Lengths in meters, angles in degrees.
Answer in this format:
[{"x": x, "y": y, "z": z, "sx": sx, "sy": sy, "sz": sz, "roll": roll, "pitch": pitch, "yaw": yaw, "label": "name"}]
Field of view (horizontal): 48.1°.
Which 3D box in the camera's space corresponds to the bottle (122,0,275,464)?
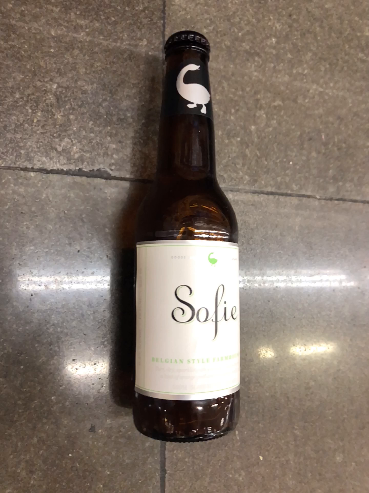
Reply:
[{"x": 0.005, "y": -0.017, "z": 0.234, "sx": 0.070, "sy": 0.040, "sz": 0.240, "roll": 1, "pitch": 85, "yaw": -23, "label": "bottle"}]
